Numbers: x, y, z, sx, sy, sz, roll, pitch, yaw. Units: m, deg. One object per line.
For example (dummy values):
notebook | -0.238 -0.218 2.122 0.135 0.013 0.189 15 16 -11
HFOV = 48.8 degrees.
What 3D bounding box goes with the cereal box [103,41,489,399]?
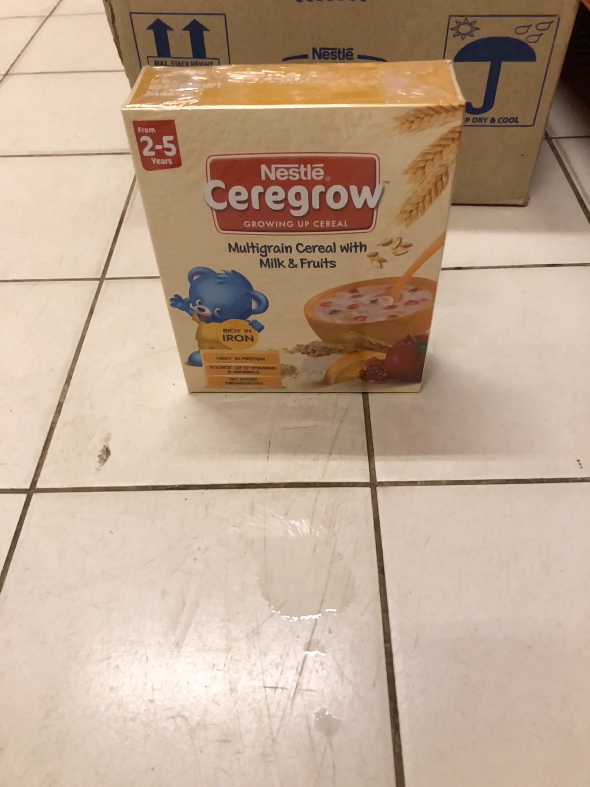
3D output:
cereal box | 0.004 -0.080 0.356 0.160 0.189 0.050 -1 48 2
